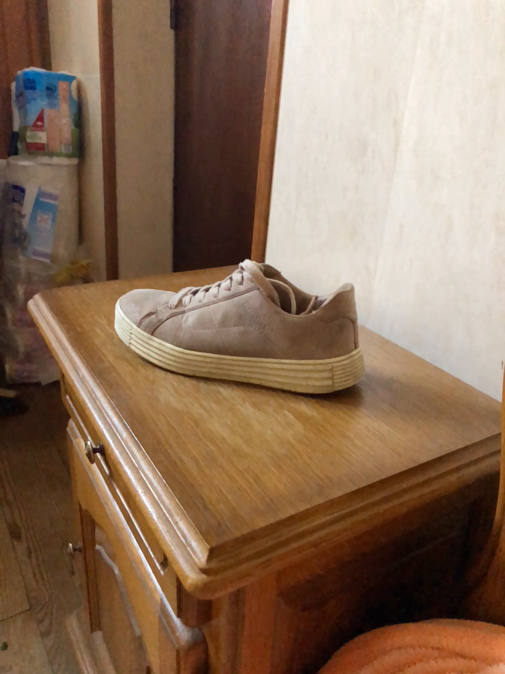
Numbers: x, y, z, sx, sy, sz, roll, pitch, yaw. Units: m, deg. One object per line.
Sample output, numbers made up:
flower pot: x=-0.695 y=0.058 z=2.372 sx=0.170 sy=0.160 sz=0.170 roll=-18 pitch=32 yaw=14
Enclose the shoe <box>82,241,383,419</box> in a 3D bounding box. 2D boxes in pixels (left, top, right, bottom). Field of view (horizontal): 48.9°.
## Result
shoe: x=-0.018 y=-0.017 z=0.538 sx=0.260 sy=0.090 sz=0.111 roll=12 pitch=25 yaw=15
